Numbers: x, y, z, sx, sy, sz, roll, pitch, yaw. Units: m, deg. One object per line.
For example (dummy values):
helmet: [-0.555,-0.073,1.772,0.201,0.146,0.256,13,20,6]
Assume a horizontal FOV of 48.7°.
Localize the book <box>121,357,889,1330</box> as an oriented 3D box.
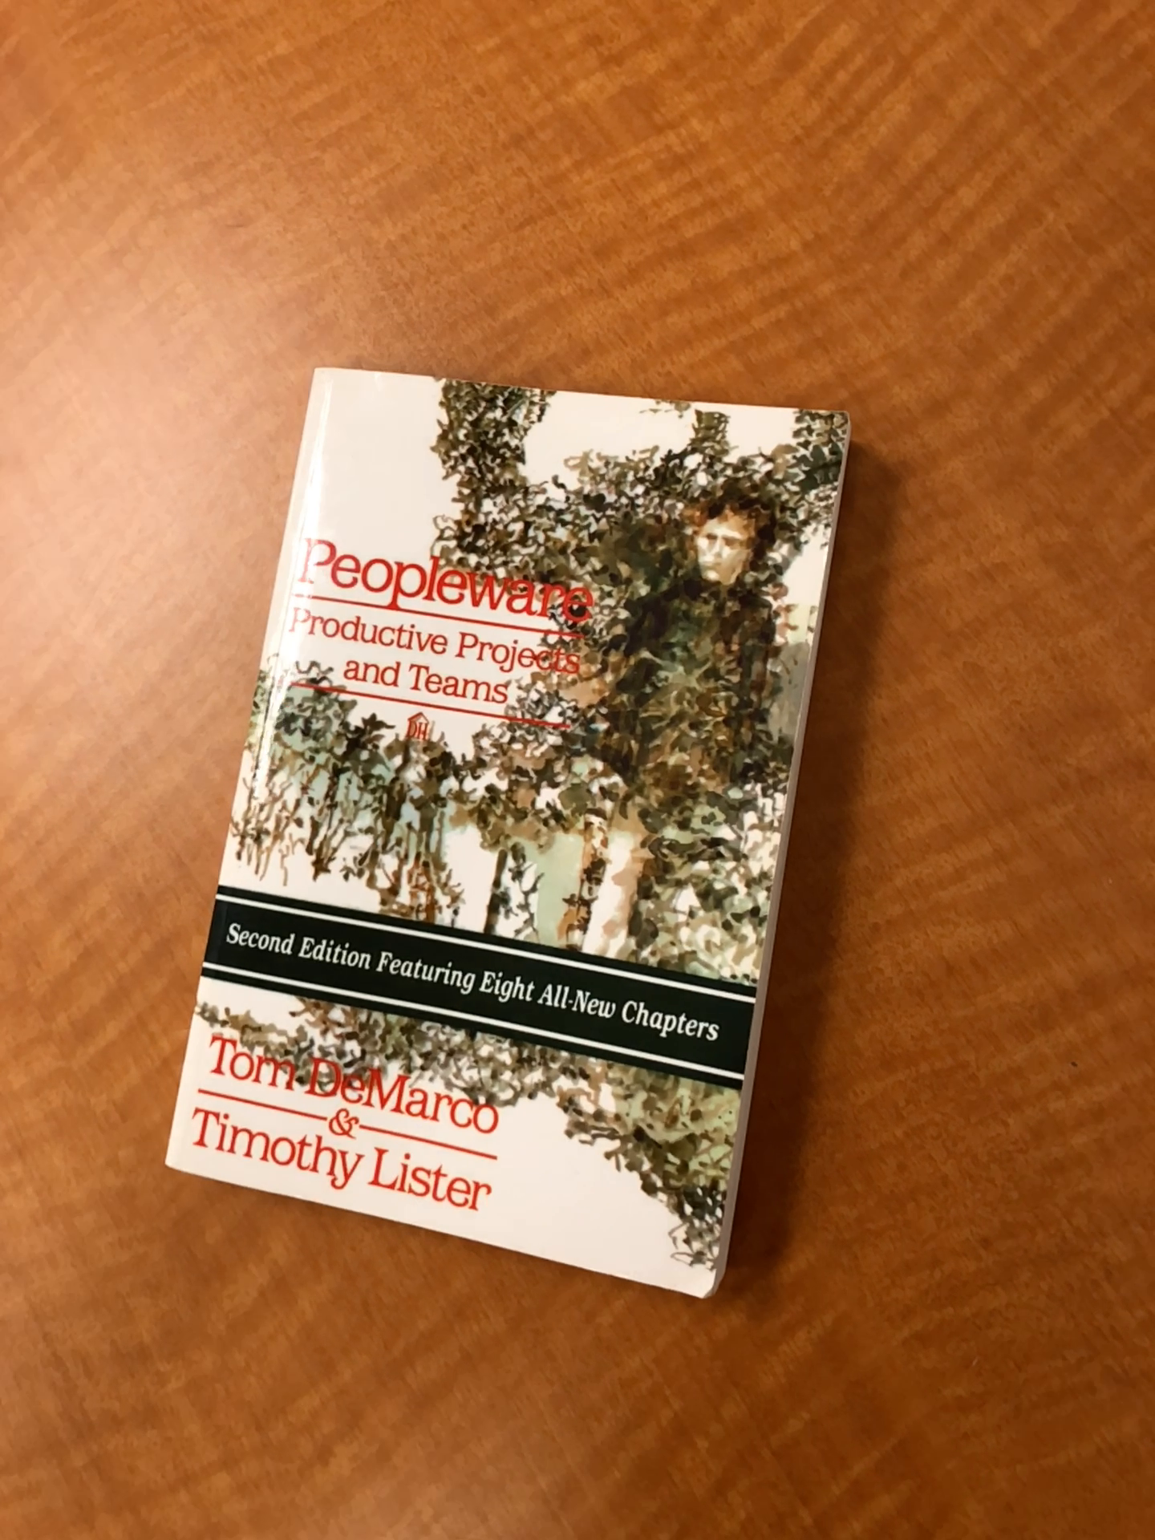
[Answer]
book: [-0.015,0.011,0.343,0.160,0.050,0.220,9,84,12]
